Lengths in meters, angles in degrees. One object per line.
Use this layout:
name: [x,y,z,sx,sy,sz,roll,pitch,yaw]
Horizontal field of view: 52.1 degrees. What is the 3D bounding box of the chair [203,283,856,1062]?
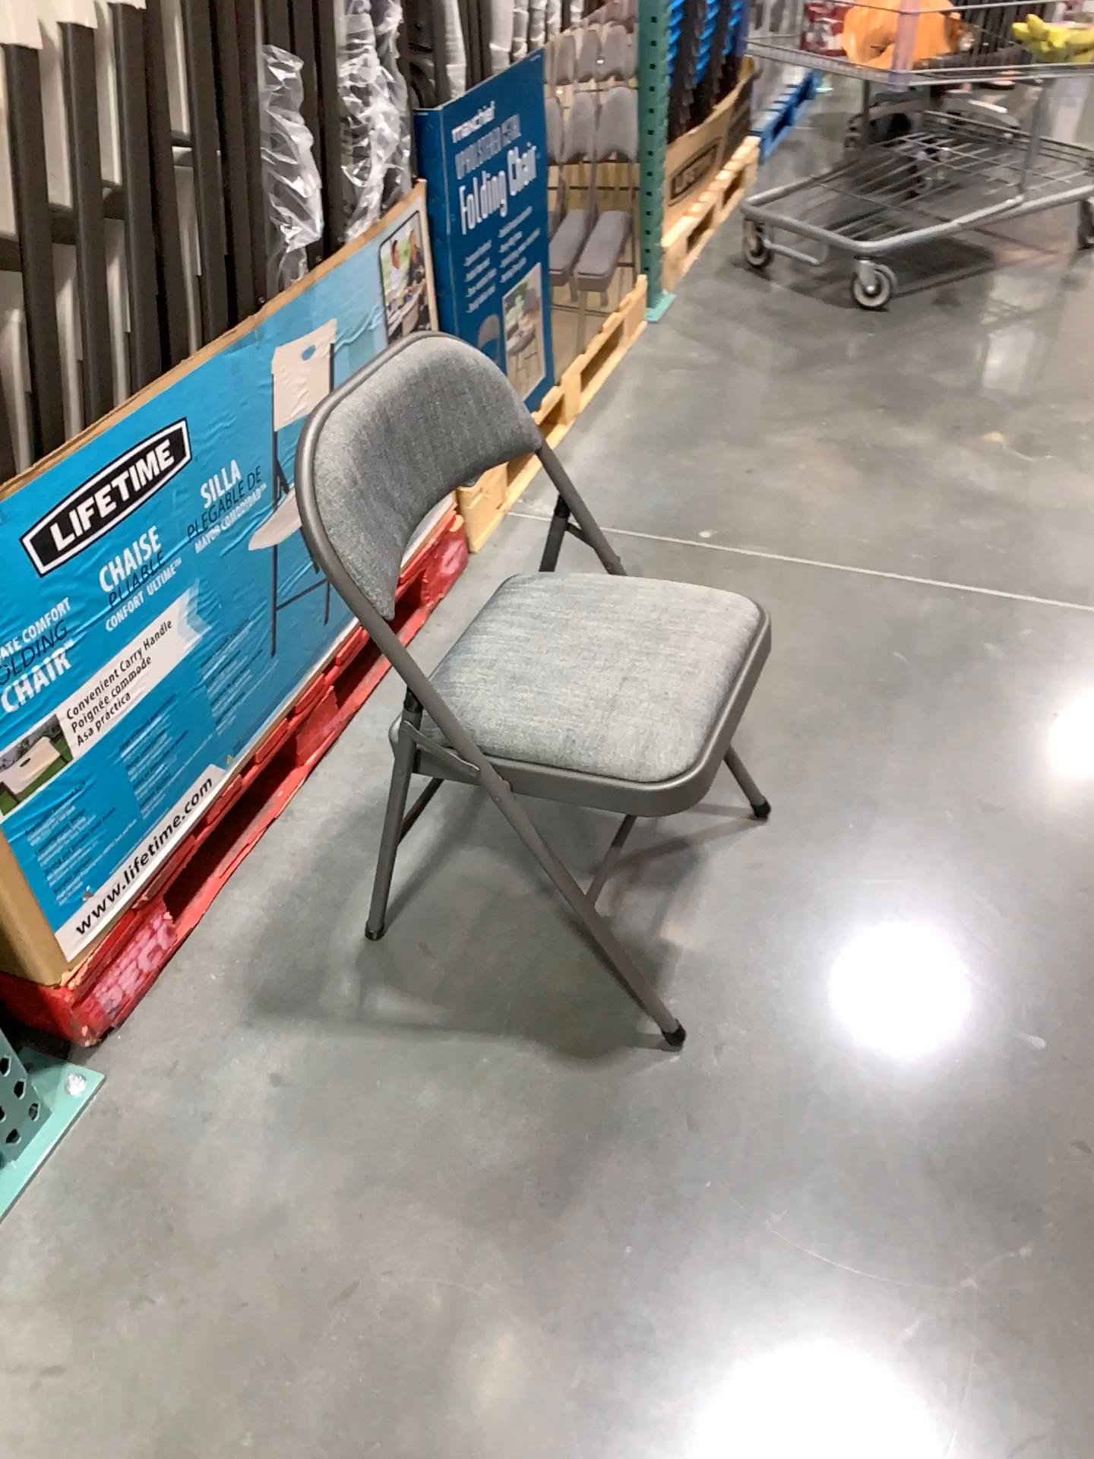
chair: [0.018,-0.075,1.350,0.503,0.687,0.496,14,44,17]
